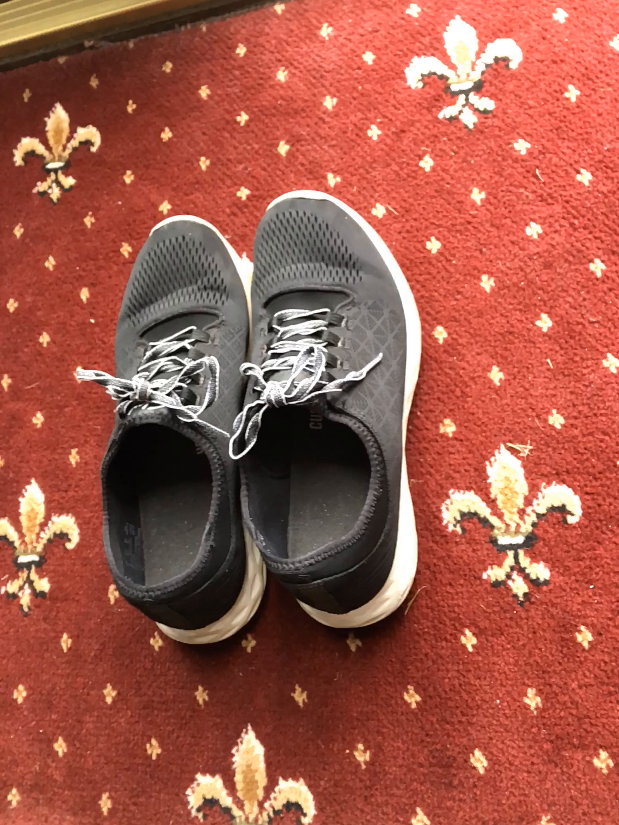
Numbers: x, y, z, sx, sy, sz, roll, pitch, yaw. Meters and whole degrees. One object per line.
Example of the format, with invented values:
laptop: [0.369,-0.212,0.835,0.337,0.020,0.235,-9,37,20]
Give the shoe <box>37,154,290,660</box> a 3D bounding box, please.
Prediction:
shoe: [-0.084,0.001,0.422,0.100,0.110,0.271,-8,73,13]

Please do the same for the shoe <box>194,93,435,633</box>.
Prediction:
shoe: [0.005,-0.020,0.391,0.100,0.110,0.270,-6,74,14]
